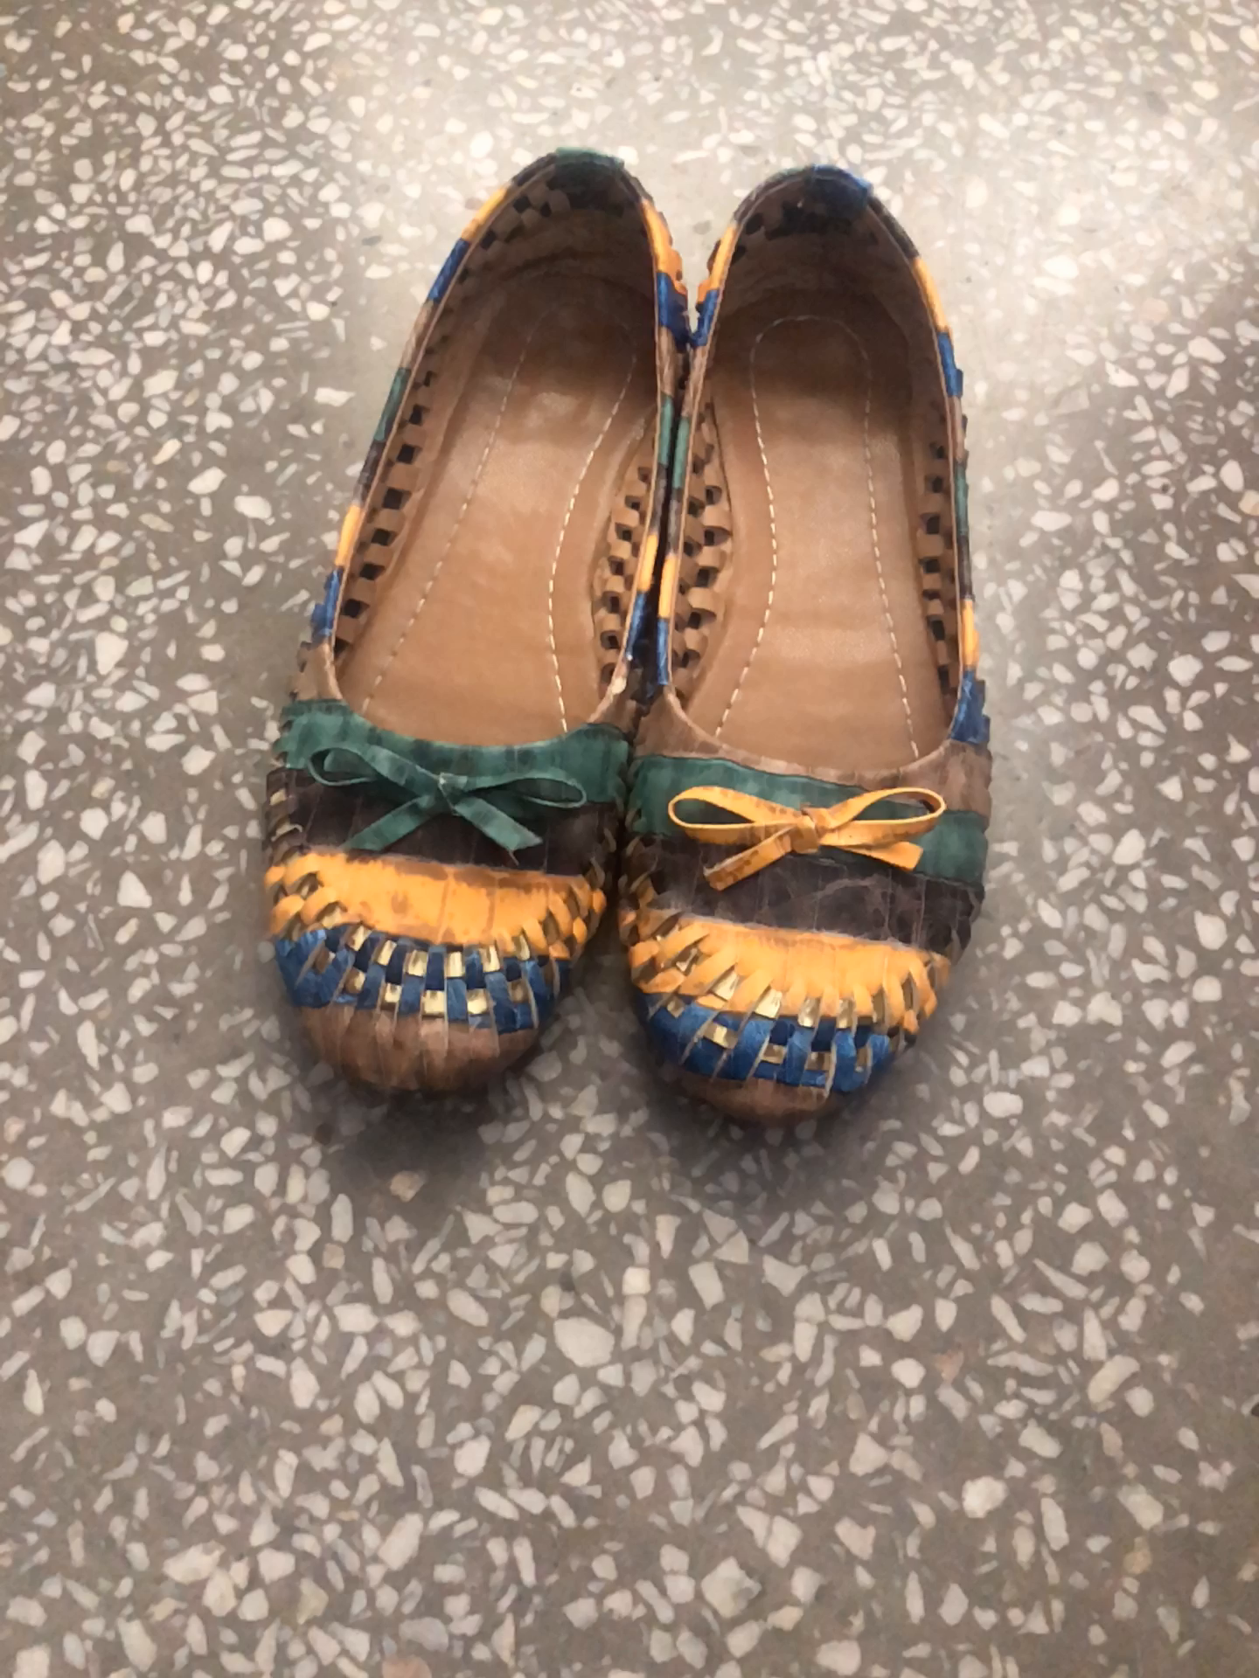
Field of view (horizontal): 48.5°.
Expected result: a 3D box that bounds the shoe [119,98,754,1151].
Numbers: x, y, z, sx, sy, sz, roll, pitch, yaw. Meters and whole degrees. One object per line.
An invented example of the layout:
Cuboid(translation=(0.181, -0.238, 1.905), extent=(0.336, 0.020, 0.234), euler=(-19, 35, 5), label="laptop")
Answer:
Cuboid(translation=(-0.033, -0.056, 0.338), extent=(0.090, 0.074, 0.237), euler=(9, 69, 3), label="shoe")

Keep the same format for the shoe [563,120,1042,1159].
Cuboid(translation=(0.042, -0.052, 0.338), extent=(0.090, 0.074, 0.237), euler=(5, 69, 1), label="shoe")
